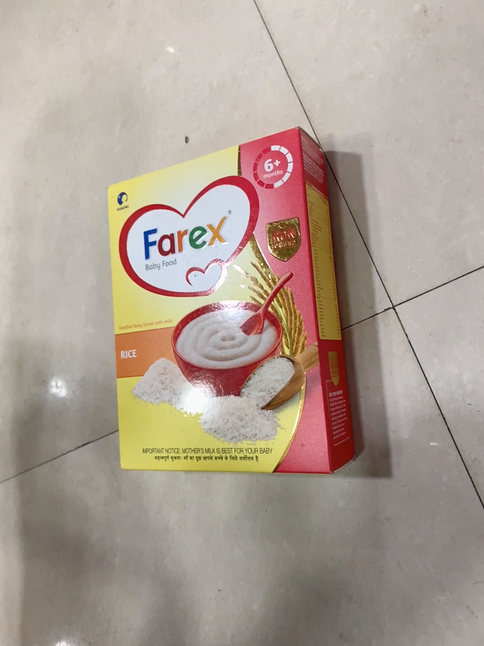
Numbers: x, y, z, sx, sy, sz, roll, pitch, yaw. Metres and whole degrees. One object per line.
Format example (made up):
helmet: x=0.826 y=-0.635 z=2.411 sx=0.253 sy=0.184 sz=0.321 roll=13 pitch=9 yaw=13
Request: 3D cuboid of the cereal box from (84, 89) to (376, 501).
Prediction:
cereal box: x=-0.014 y=-0.008 z=0.315 sx=0.161 sy=0.060 sz=0.210 roll=-7 pitch=83 yaw=27
